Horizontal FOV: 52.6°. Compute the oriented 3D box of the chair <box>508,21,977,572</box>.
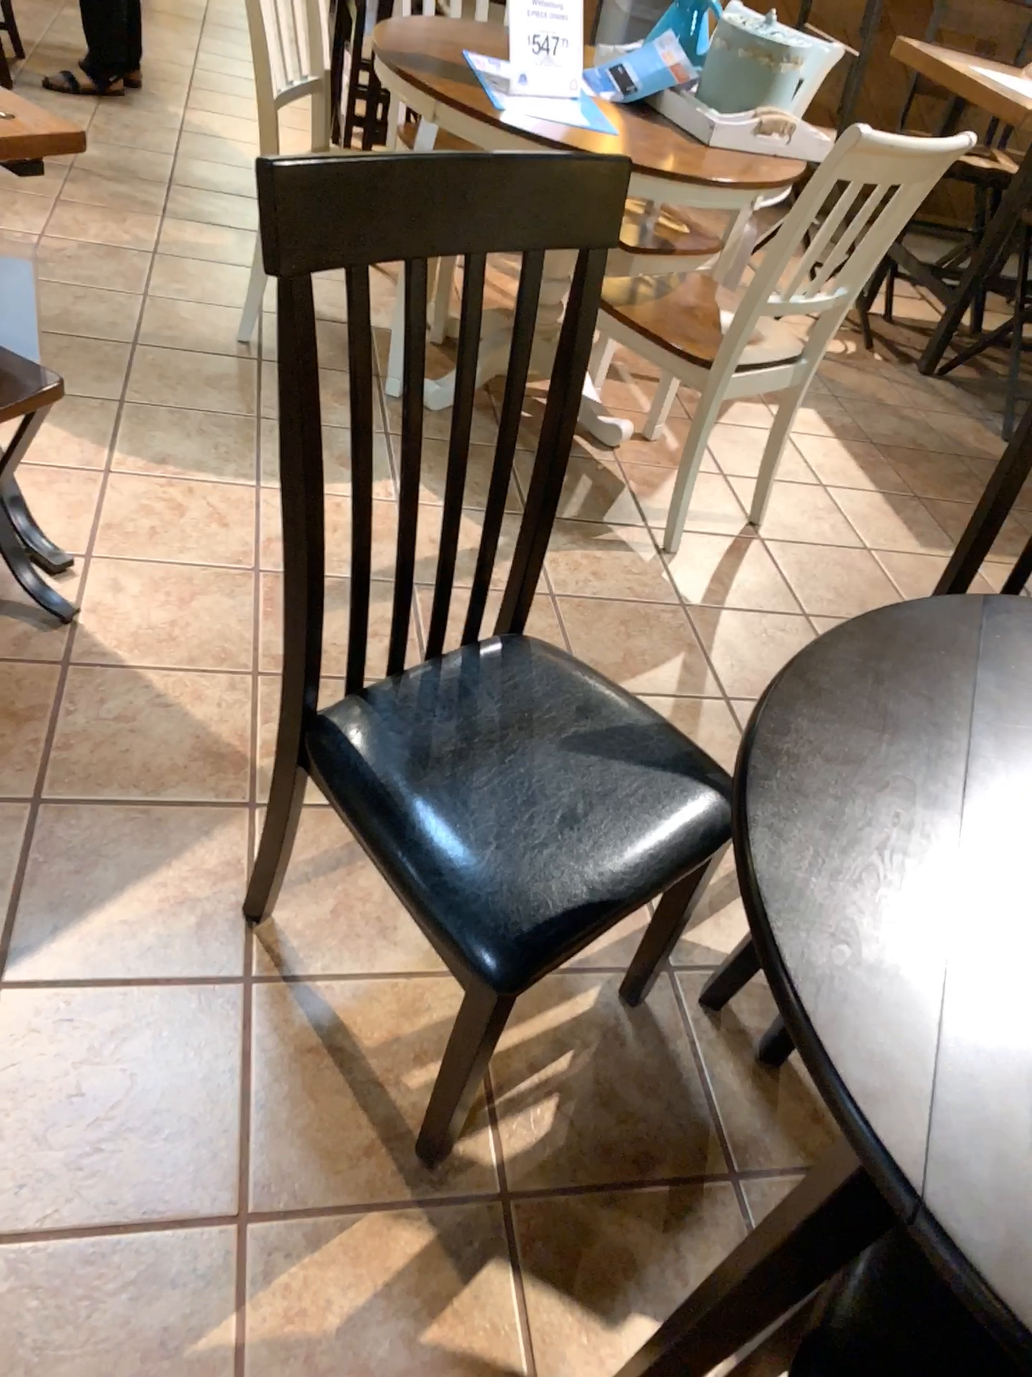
[{"bbox_3d":[0.423,-0.815,2.238,0.465,0.893,0.542,-22,53,-37],"label":"chair"}]

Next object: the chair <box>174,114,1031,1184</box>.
[{"bbox_3d":[-0.019,-0.027,1.149,0.456,0.923,0.562,-23,54,-38],"label":"chair"}]

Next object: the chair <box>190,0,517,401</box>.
[{"bbox_3d":[-0.400,-1.246,2.437,0.541,0.903,0.416,18,39,2],"label":"chair"}]

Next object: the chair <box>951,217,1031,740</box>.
[{"bbox_3d":[1.414,-0.369,2.098,0.541,0.893,0.406,4,41,-15],"label":"chair"}]

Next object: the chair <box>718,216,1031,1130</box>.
[{"bbox_3d":[0.604,0.018,1.299,0.384,0.933,0.544,17,39,0],"label":"chair"}]
